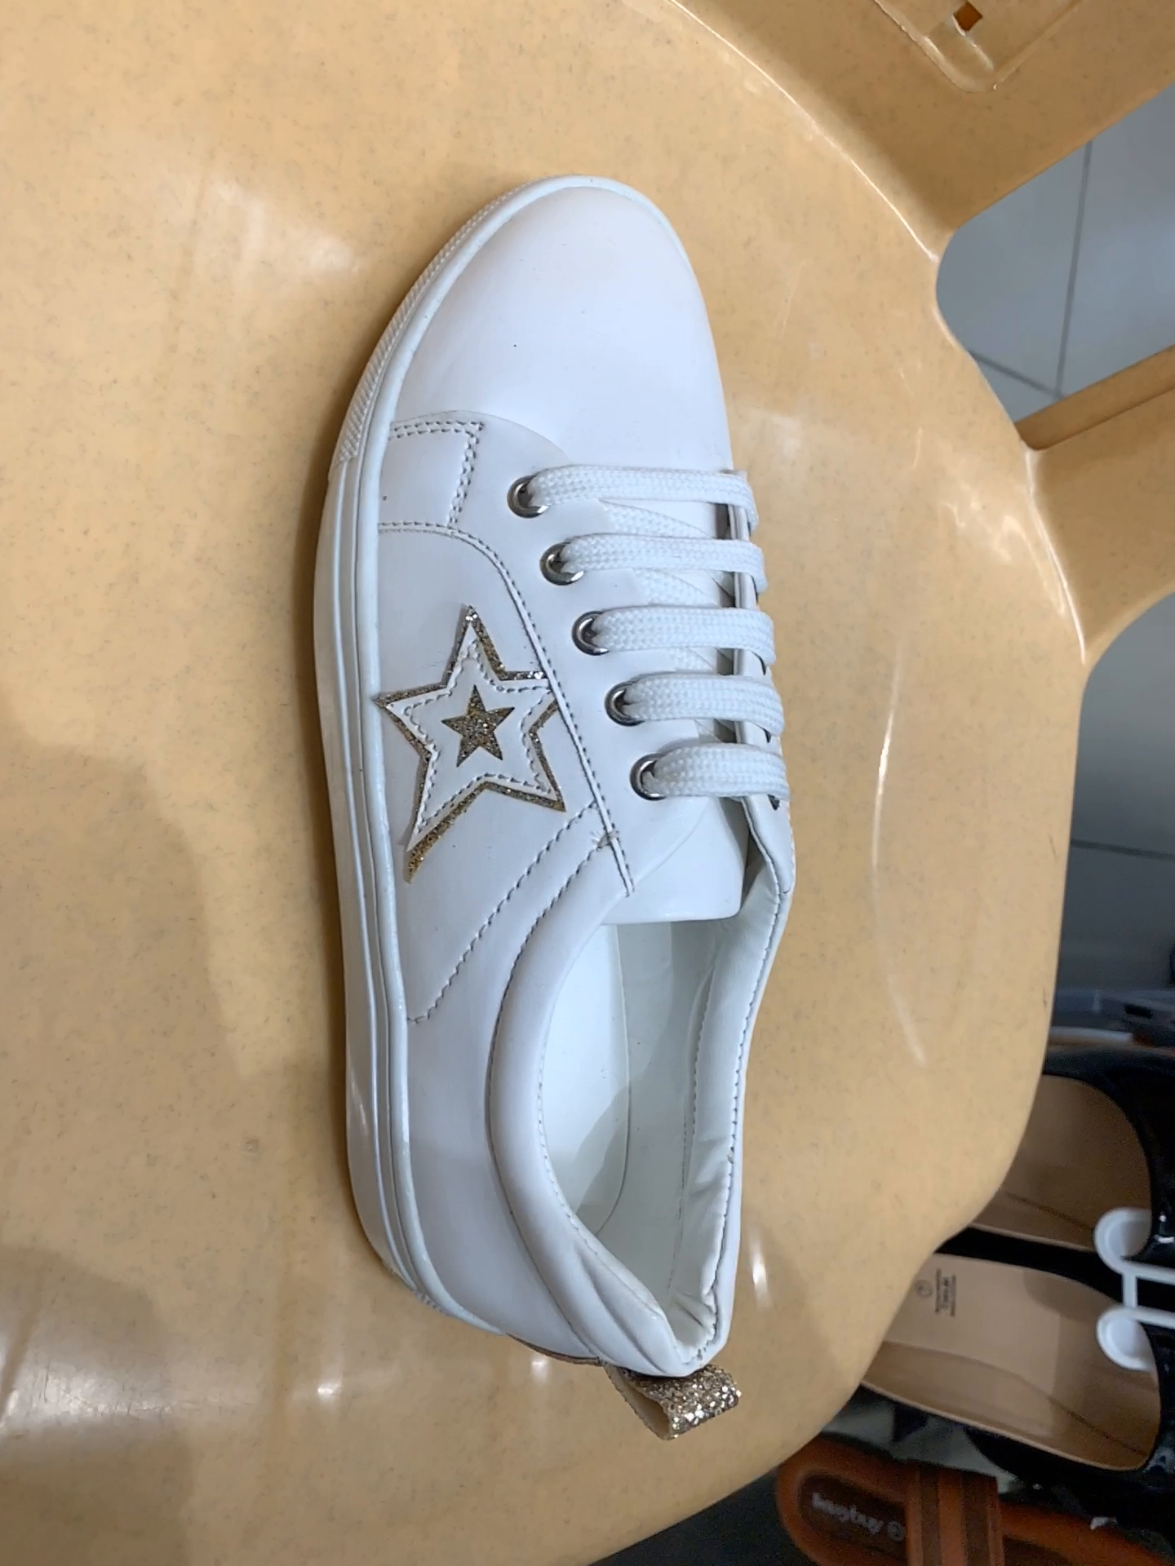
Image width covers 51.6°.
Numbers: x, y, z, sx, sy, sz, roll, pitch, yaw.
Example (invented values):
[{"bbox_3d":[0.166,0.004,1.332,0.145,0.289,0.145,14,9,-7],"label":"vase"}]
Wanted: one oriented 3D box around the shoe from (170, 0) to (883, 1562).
[{"bbox_3d":[-0.017,-0.002,0.243,0.090,0.090,0.240,4,91,-32],"label":"shoe"}]
